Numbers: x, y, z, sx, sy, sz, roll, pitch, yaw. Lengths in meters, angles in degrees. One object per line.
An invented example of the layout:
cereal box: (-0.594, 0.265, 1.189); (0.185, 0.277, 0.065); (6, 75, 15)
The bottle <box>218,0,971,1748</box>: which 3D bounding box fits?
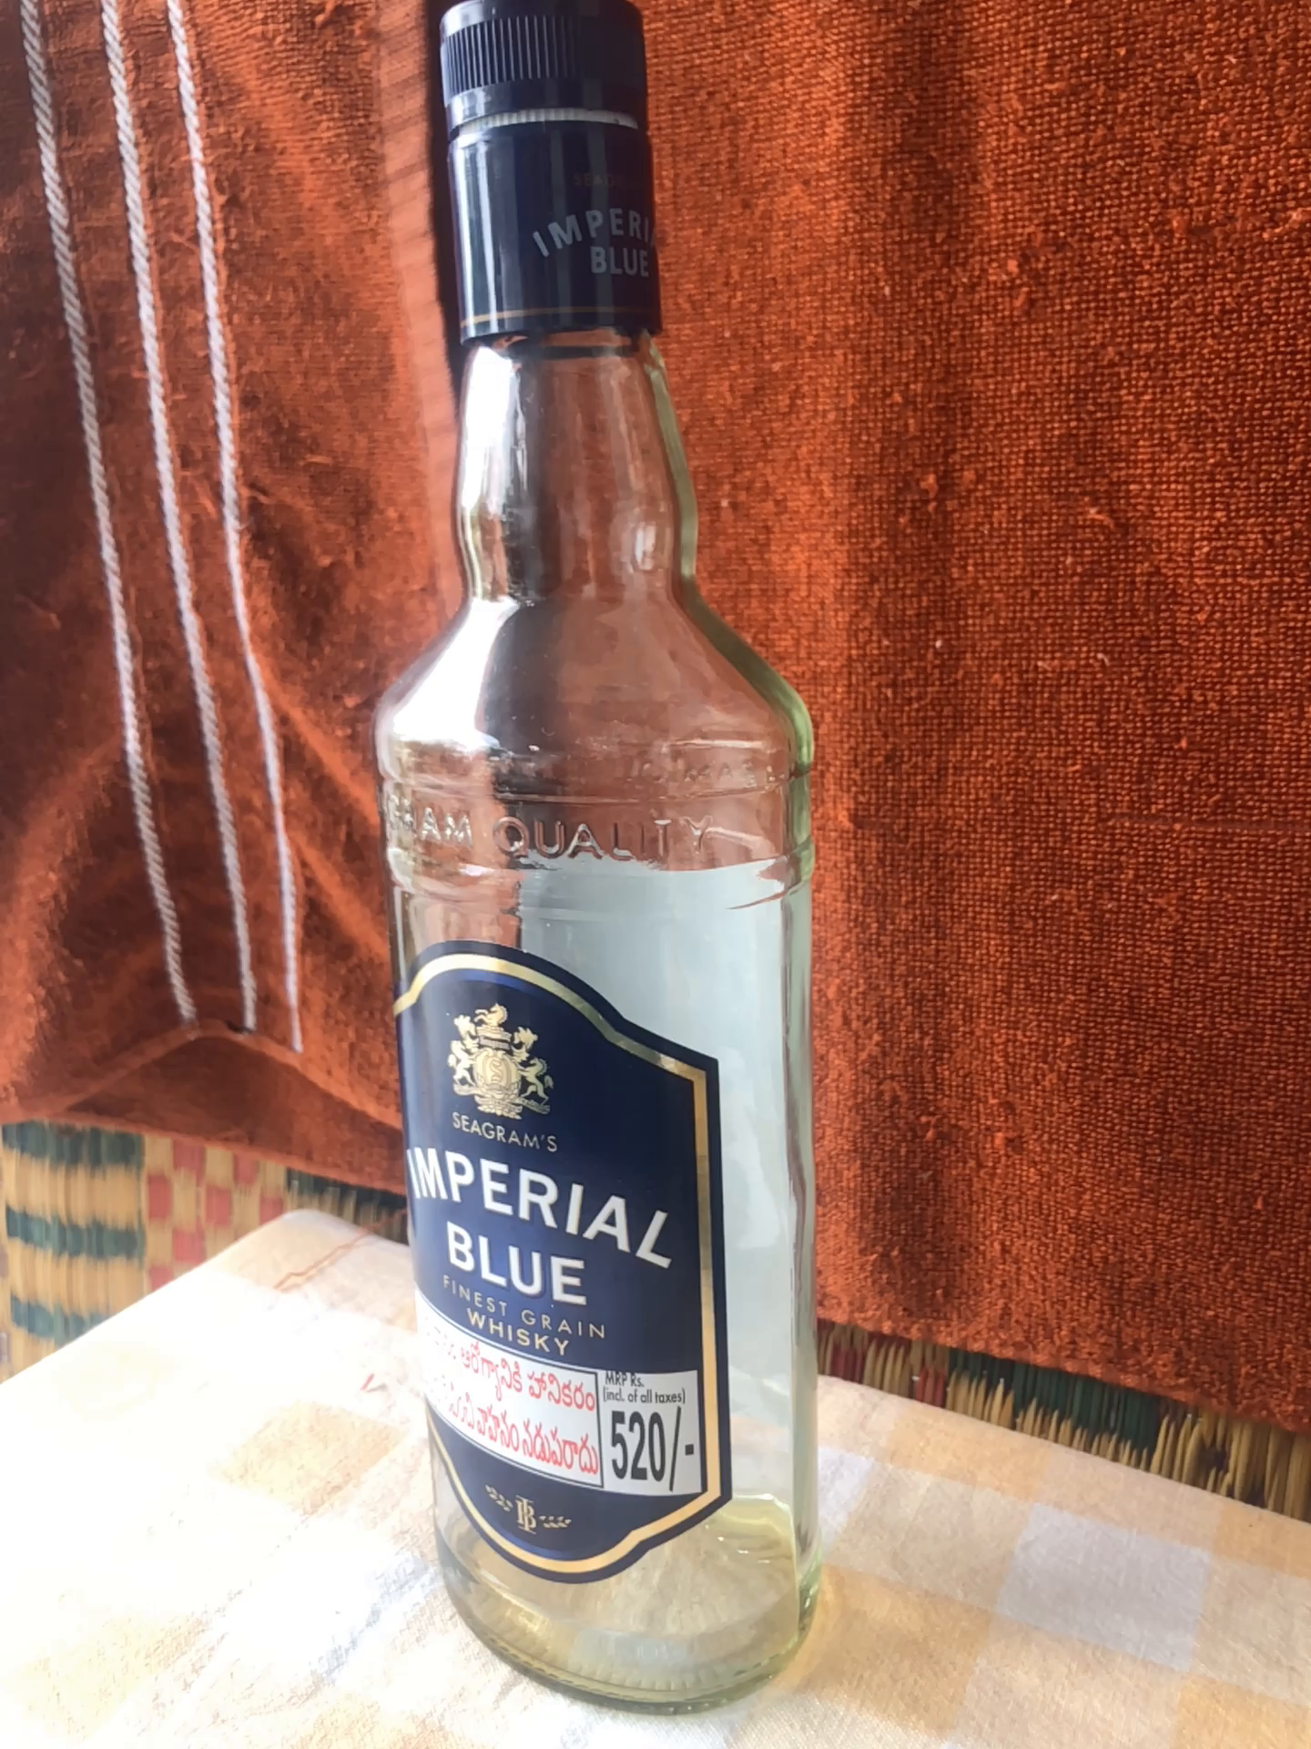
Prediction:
bottle: (-0.005, -0.005, 0.263); (0.090, 0.309, 0.070); (9, 19, 34)
